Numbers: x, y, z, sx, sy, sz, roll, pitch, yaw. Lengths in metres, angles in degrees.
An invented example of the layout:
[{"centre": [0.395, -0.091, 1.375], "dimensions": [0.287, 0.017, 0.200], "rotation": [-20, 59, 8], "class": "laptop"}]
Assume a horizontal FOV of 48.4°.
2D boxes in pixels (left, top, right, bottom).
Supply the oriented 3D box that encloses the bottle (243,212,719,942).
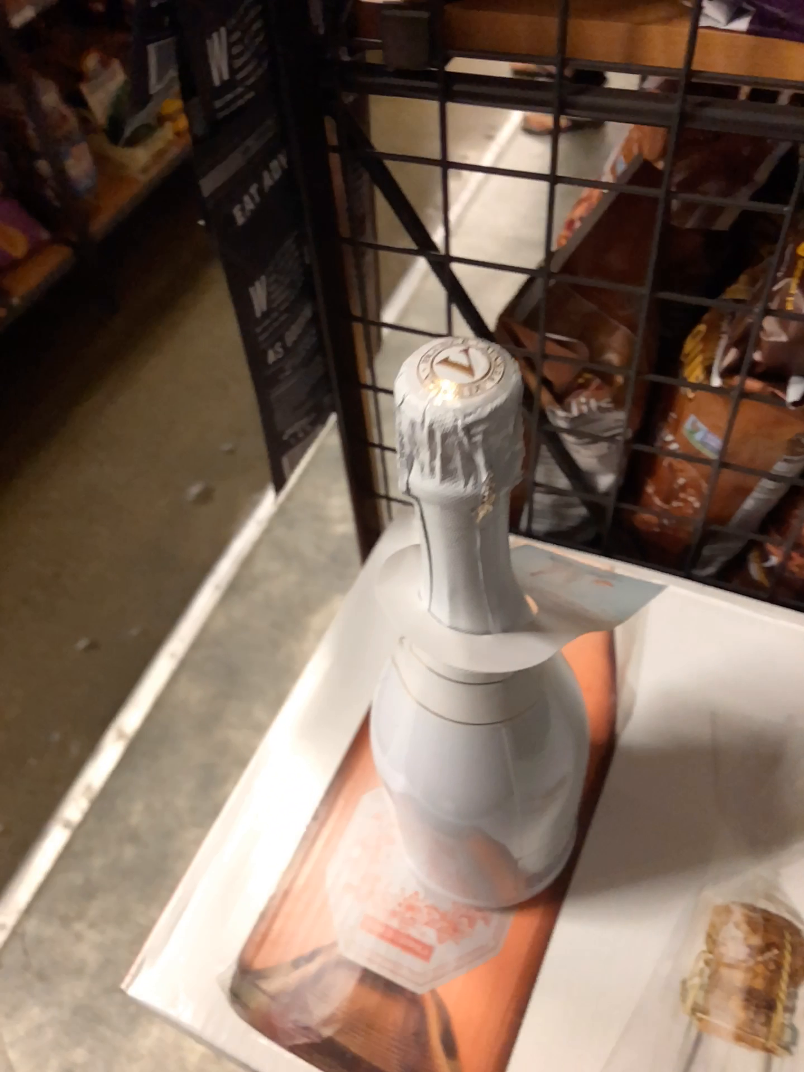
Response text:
[{"centre": [0.033, 0.049, 0.337], "dimensions": [0.094, 0.311, 0.086], "rotation": [-2, 50, 3], "class": "bottle"}]
